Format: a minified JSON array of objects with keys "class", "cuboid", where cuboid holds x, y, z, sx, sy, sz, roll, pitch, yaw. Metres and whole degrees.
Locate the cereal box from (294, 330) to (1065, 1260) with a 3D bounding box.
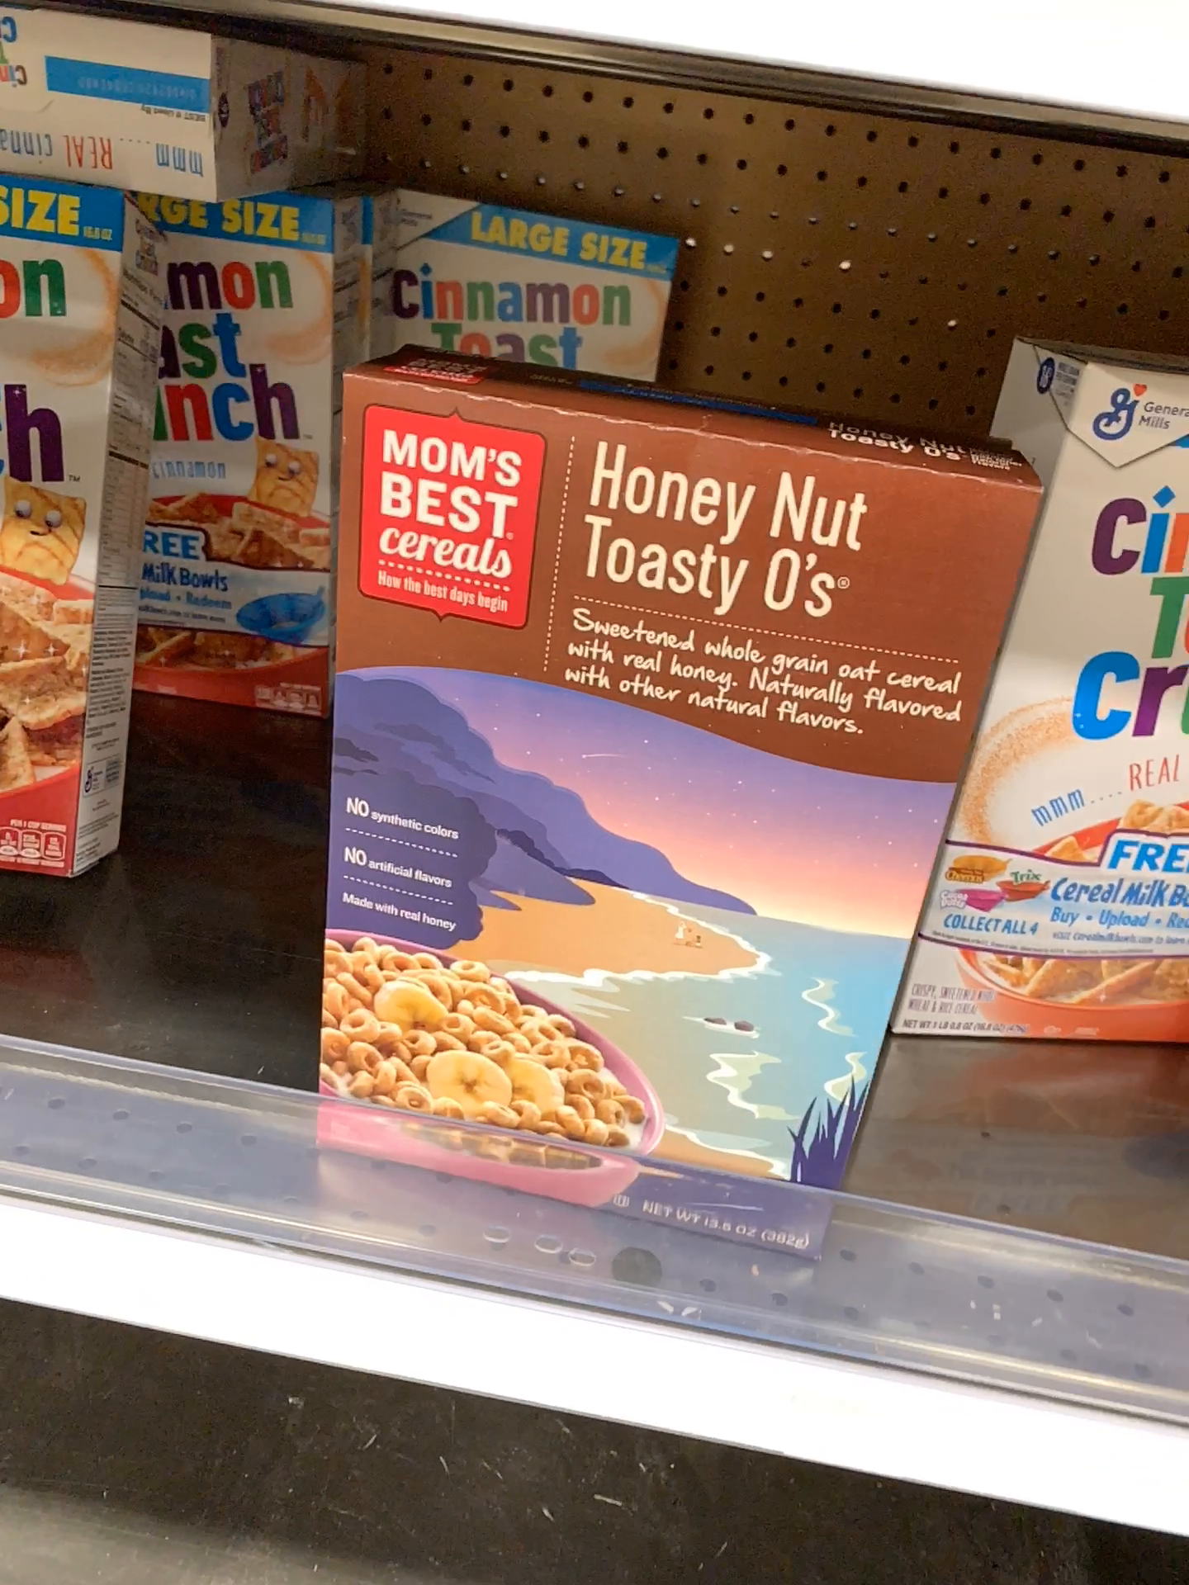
[{"class":"cereal box","cuboid":[0.010,0.009,0.413,0.200,0.279,0.070,11,27,5]}]
